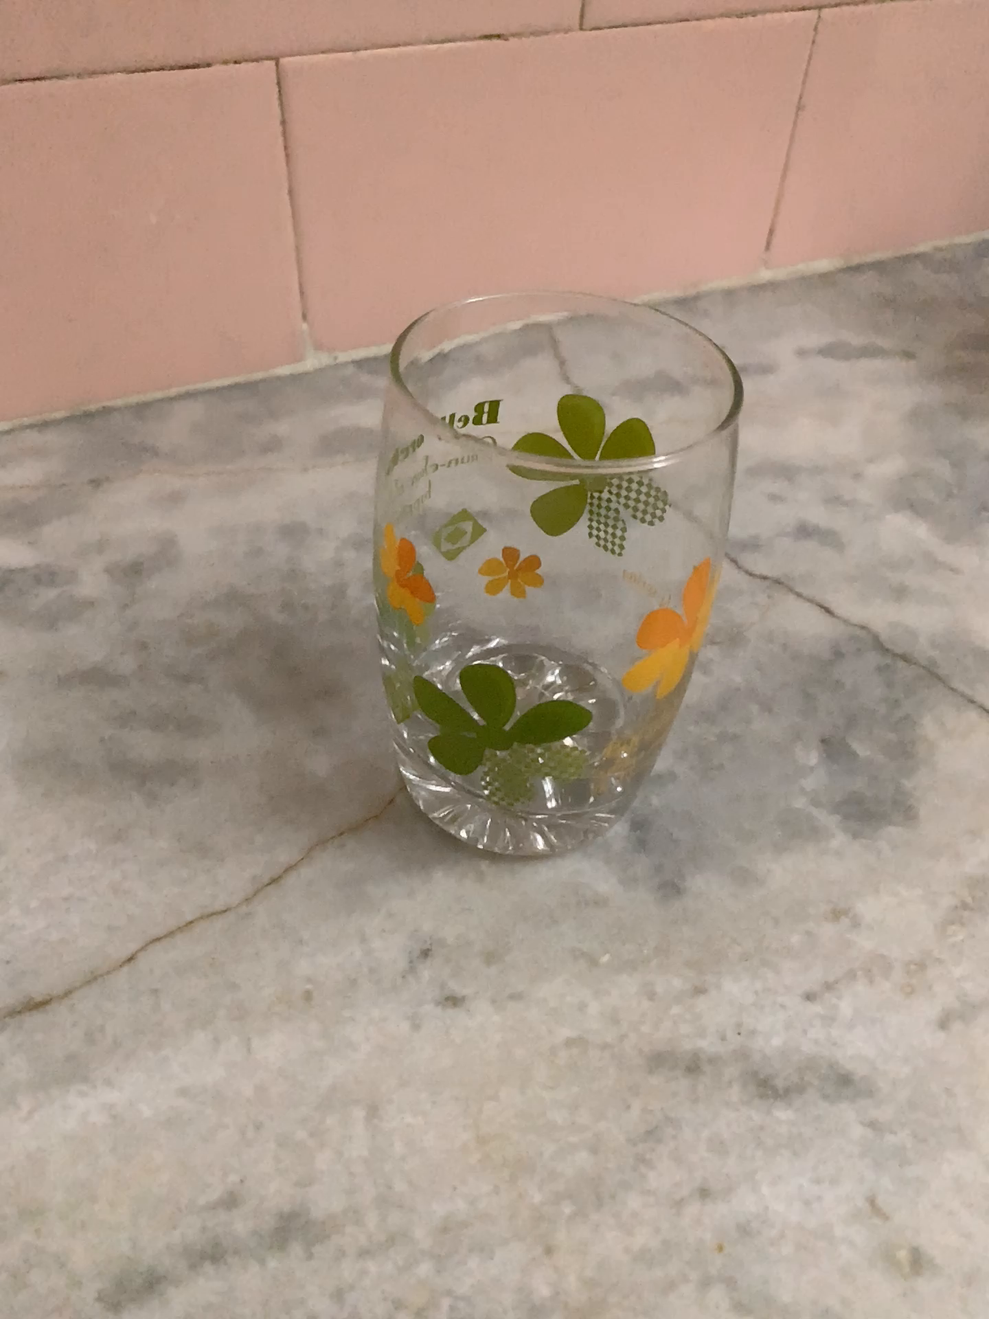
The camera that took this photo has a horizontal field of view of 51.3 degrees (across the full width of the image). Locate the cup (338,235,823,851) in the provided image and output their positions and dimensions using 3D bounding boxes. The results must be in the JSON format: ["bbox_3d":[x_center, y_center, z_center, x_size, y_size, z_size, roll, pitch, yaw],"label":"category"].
[{"bbox_3d":[0.011,-0.020,0.208,0.070,0.100,0.070,1,45,-1],"label":"cup"}]
